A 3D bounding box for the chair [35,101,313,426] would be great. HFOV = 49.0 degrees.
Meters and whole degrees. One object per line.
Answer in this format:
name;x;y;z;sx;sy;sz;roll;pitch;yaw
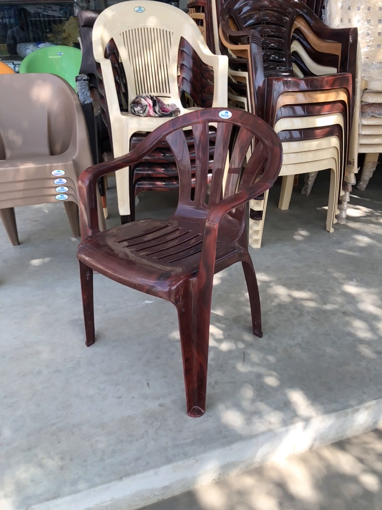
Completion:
chair;-0.035;-0.041;1.344;0.580;0.766;0.522;19;33;36
